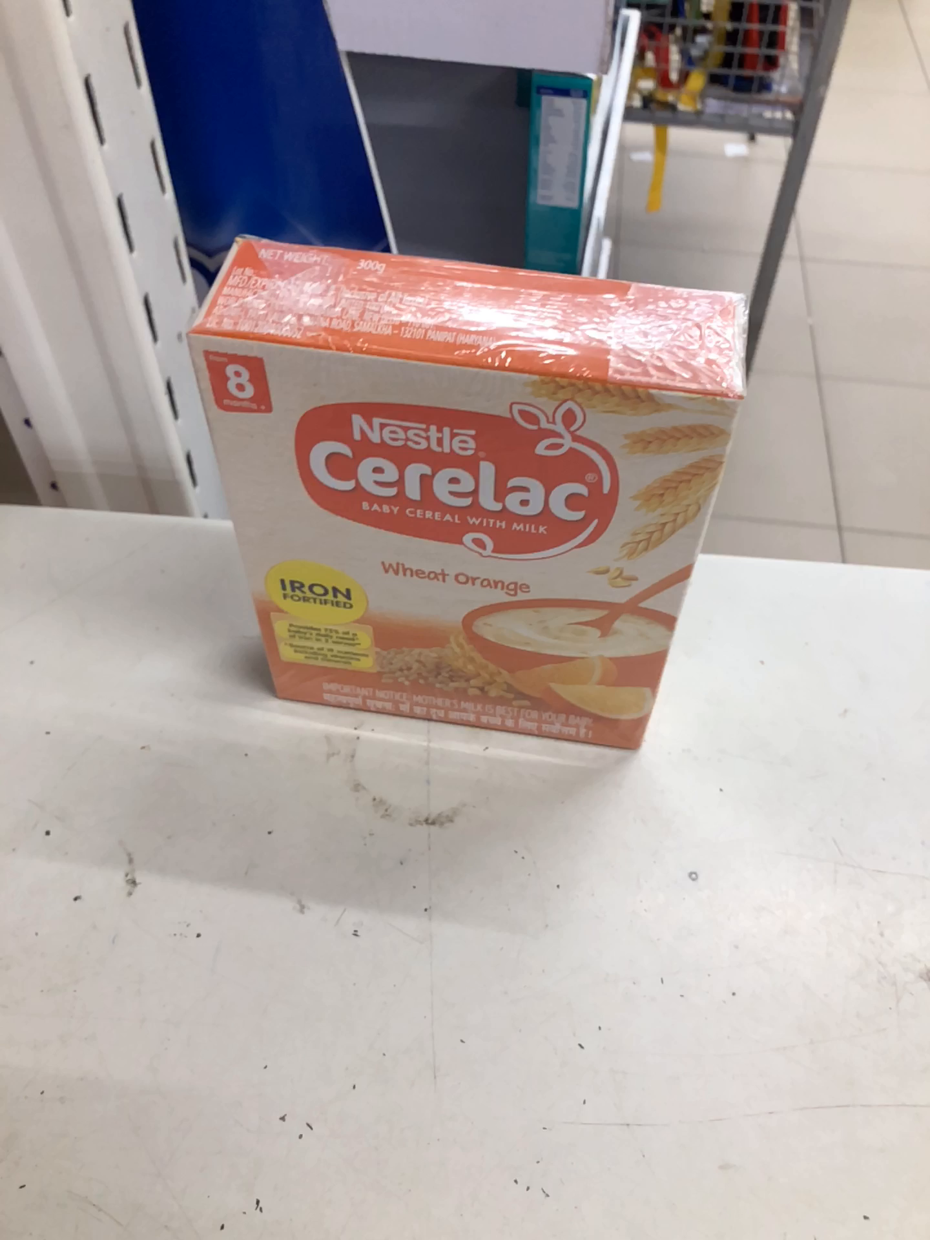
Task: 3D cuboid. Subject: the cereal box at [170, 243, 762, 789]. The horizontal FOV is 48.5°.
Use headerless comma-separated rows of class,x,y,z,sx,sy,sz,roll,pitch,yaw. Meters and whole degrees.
cereal box,0.001,-0.022,0.369,0.160,0.199,0.050,8,53,5
